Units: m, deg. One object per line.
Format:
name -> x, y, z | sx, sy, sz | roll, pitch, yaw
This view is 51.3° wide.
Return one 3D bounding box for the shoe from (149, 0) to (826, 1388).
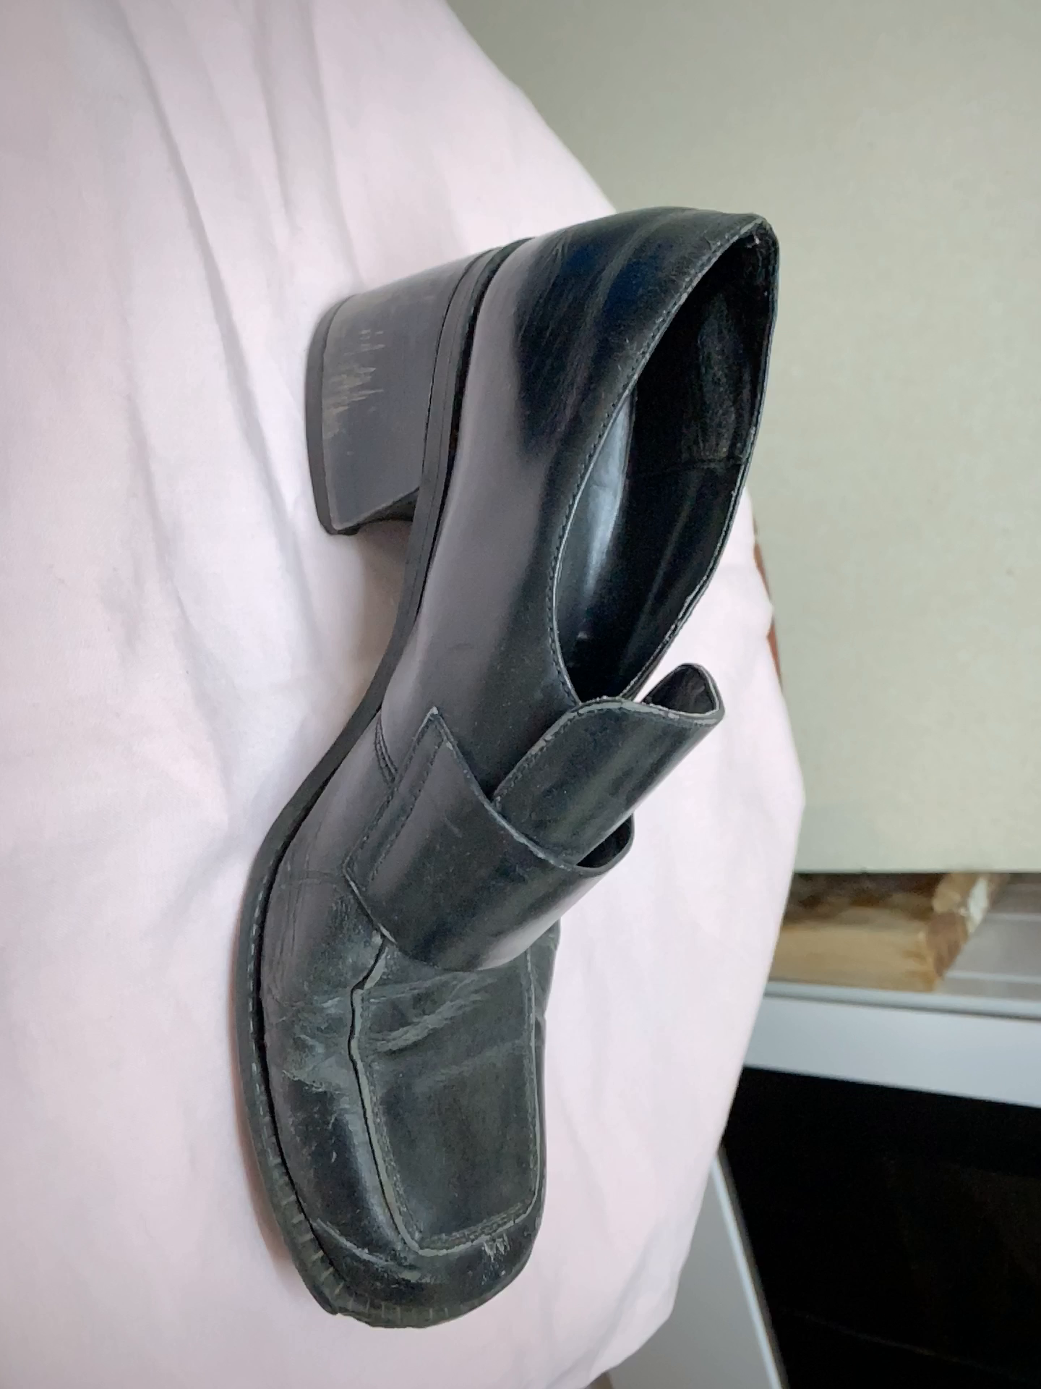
shoe -> -0.004, 0.003, 0.227 | 0.091, 0.092, 0.240 | 11, 76, -45
